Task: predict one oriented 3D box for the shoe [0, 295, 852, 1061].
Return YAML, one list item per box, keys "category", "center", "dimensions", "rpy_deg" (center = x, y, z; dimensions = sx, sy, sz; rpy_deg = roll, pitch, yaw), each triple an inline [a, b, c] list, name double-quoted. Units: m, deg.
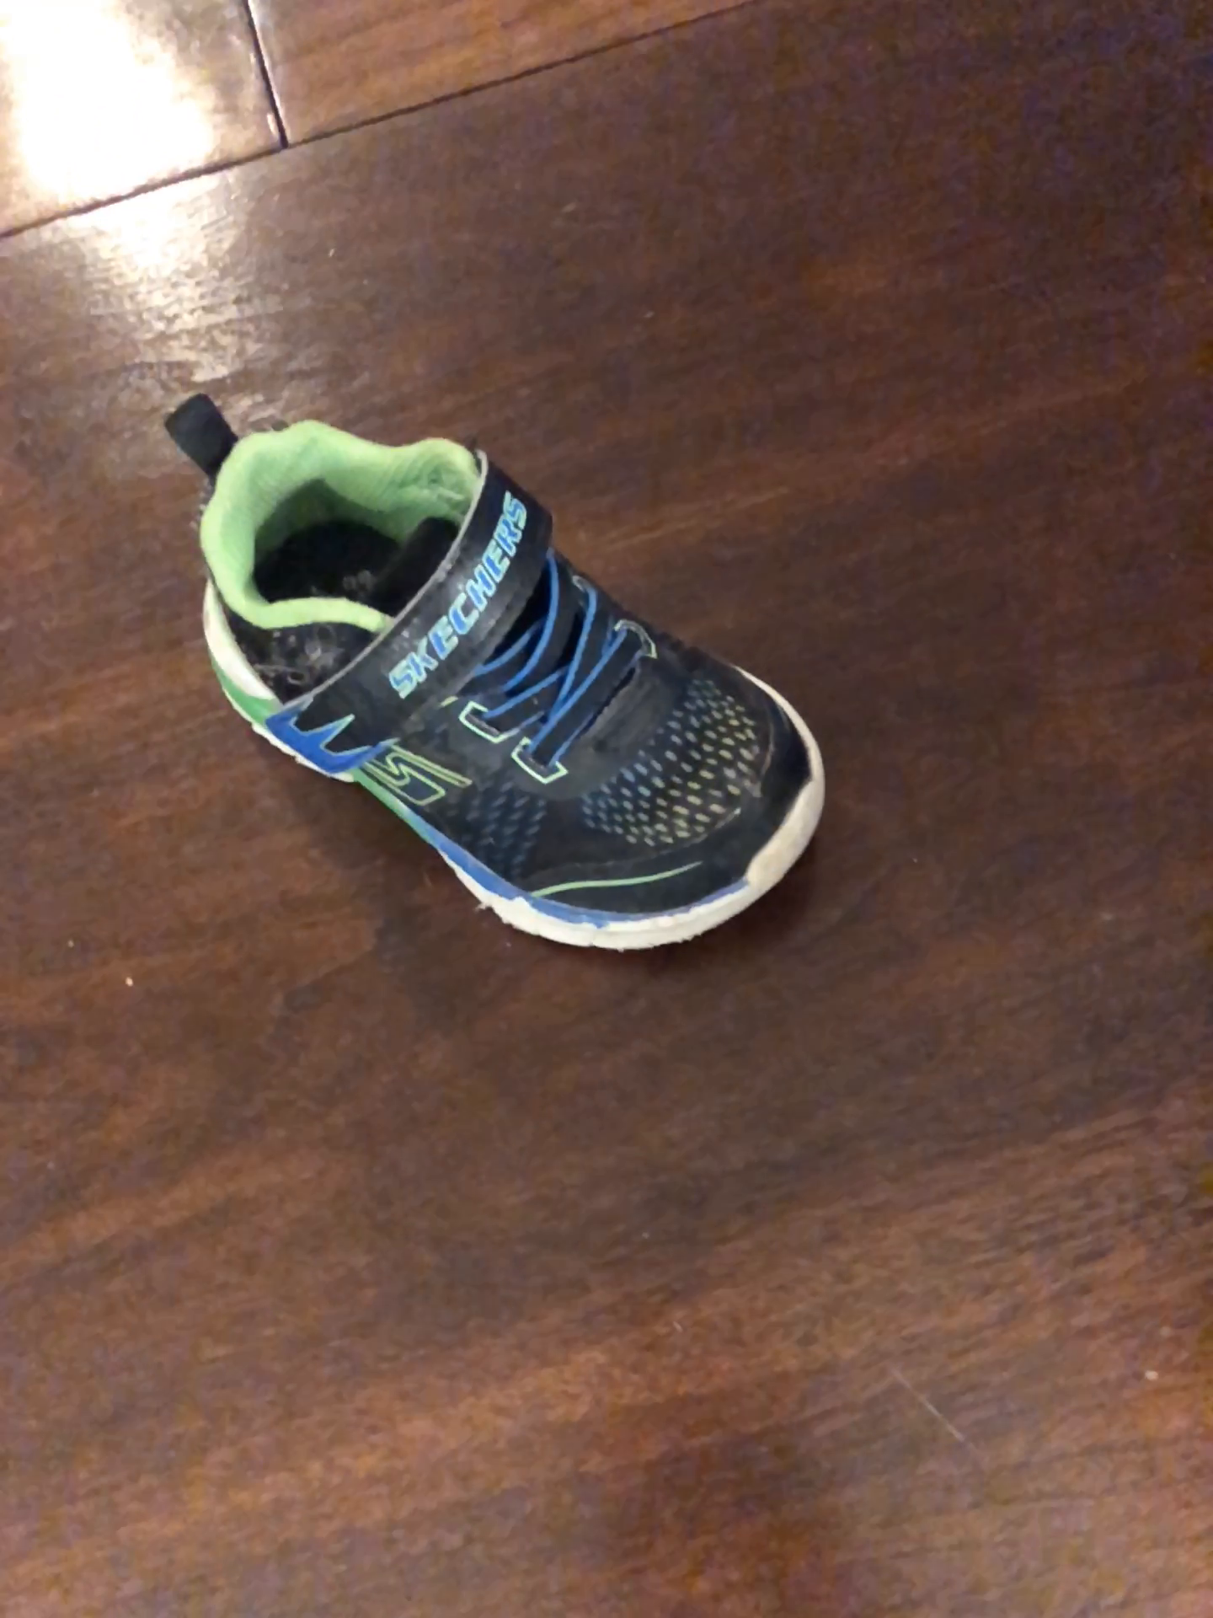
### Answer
- category: "shoe"
  center: [-0.041, -0.030, 0.311]
  dimensions: [0.170, 0.080, 0.080]
  rpy_deg: [31, 74, 17]
